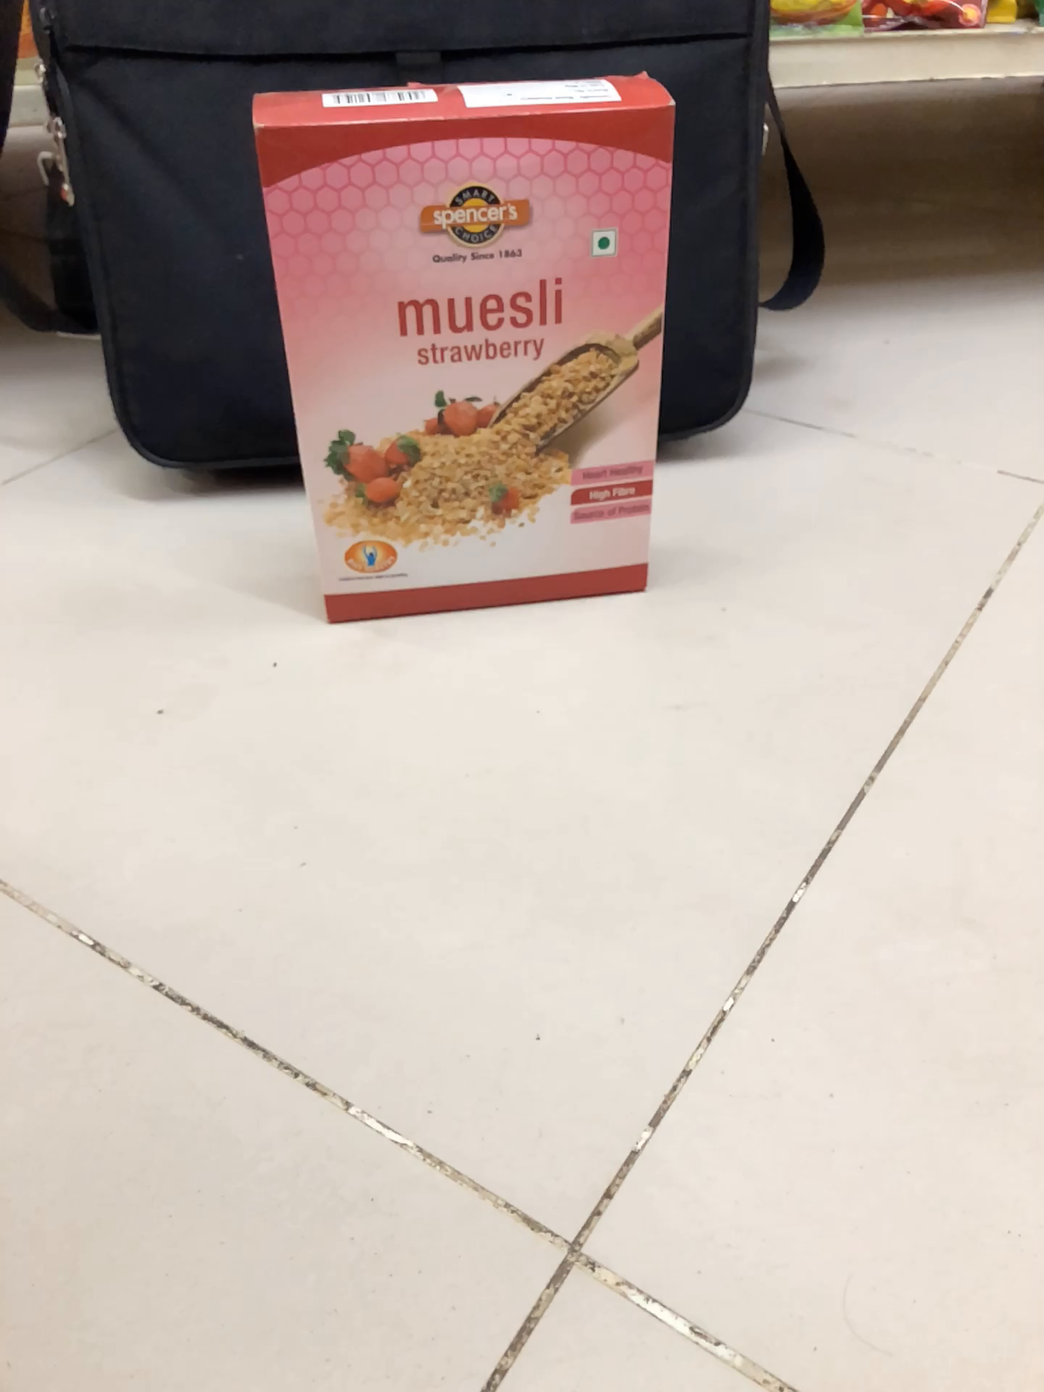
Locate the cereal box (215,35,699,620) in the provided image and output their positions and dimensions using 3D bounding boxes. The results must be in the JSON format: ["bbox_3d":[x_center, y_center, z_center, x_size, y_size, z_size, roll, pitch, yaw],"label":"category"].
[{"bbox_3d":[-0.026,-0.173,0.577,0.200,0.258,0.060,-7,38,-6],"label":"cereal box"}]
